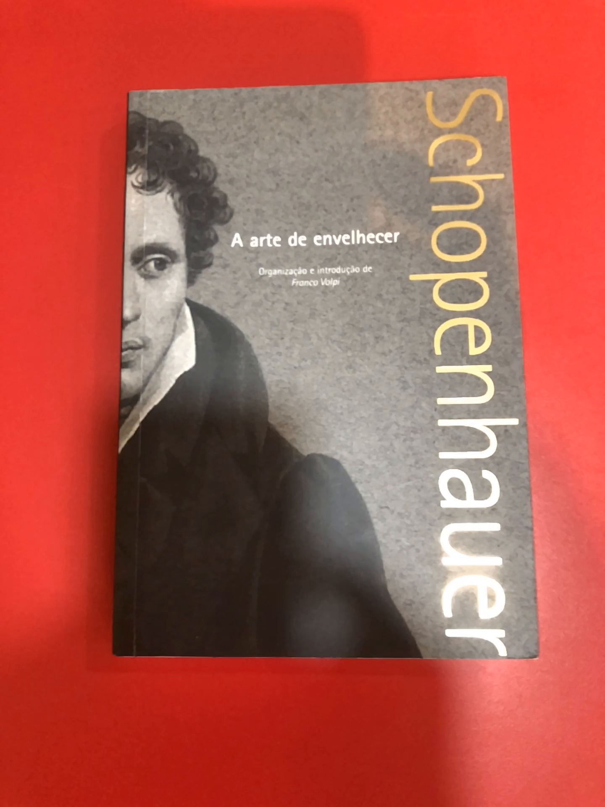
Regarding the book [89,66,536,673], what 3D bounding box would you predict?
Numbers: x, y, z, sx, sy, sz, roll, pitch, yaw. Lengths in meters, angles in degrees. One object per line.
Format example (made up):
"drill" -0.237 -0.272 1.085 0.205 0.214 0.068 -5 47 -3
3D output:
"book" 0.002 -0.015 0.228 0.137 0.017 0.196 -1 83 3
